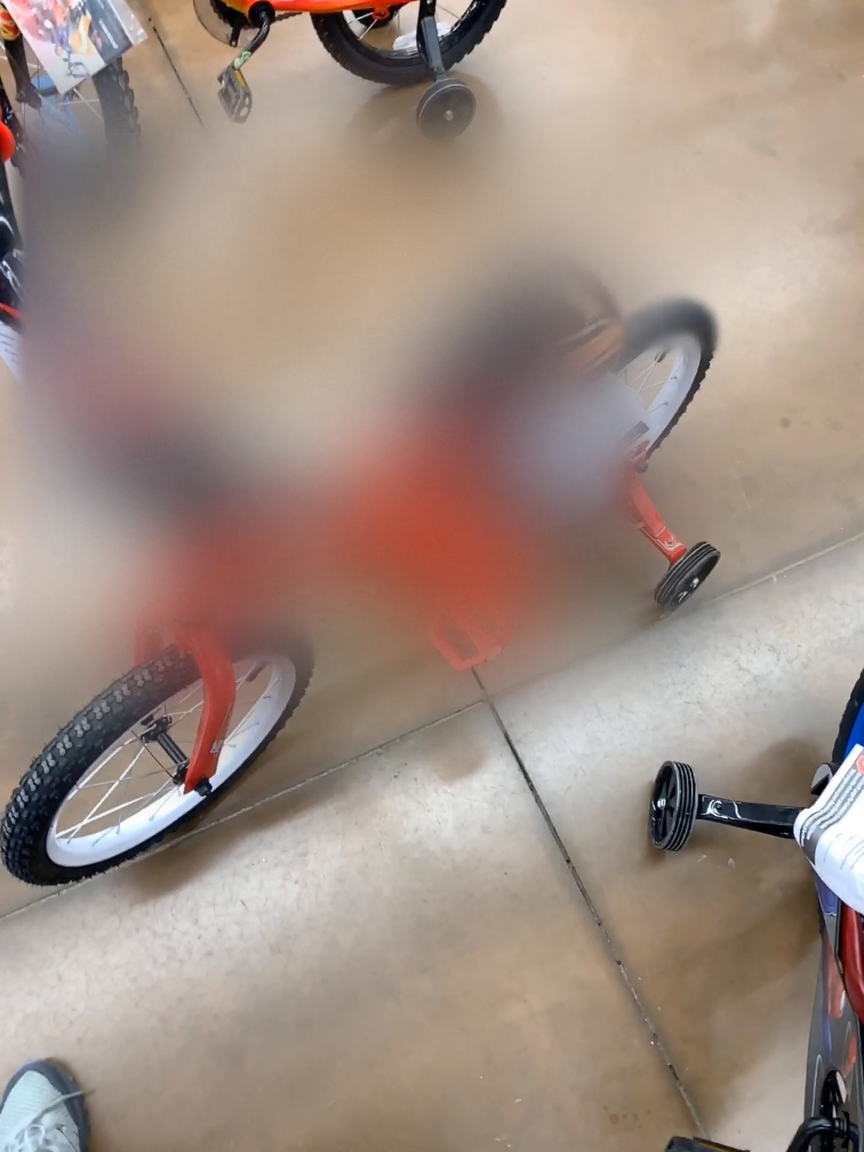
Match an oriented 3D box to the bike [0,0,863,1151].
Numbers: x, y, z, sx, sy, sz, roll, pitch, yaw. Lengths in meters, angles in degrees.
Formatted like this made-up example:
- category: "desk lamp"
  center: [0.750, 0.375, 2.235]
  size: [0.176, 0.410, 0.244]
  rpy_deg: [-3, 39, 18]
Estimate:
- category: "bike"
  center: [-0.003, -0.075, 0.902]
  size: [1.069, 0.851, 0.586]
  rpy_deg: [-37, 69, -18]
